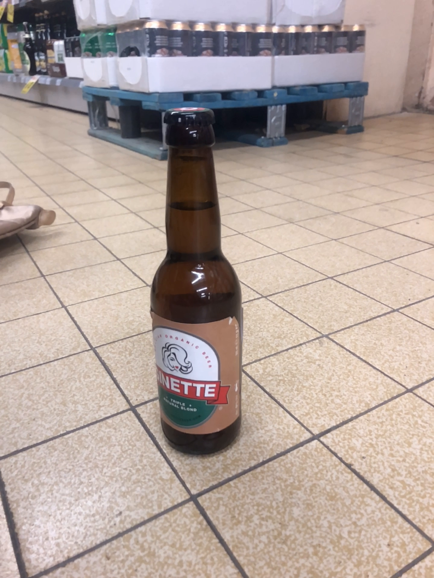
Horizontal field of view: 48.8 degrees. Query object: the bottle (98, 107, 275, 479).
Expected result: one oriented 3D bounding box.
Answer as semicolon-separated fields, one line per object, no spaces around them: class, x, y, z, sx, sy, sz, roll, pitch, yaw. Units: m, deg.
bottle;-0.013;0.003;0.307;0.070;0.219;0.070;-1;25;0
